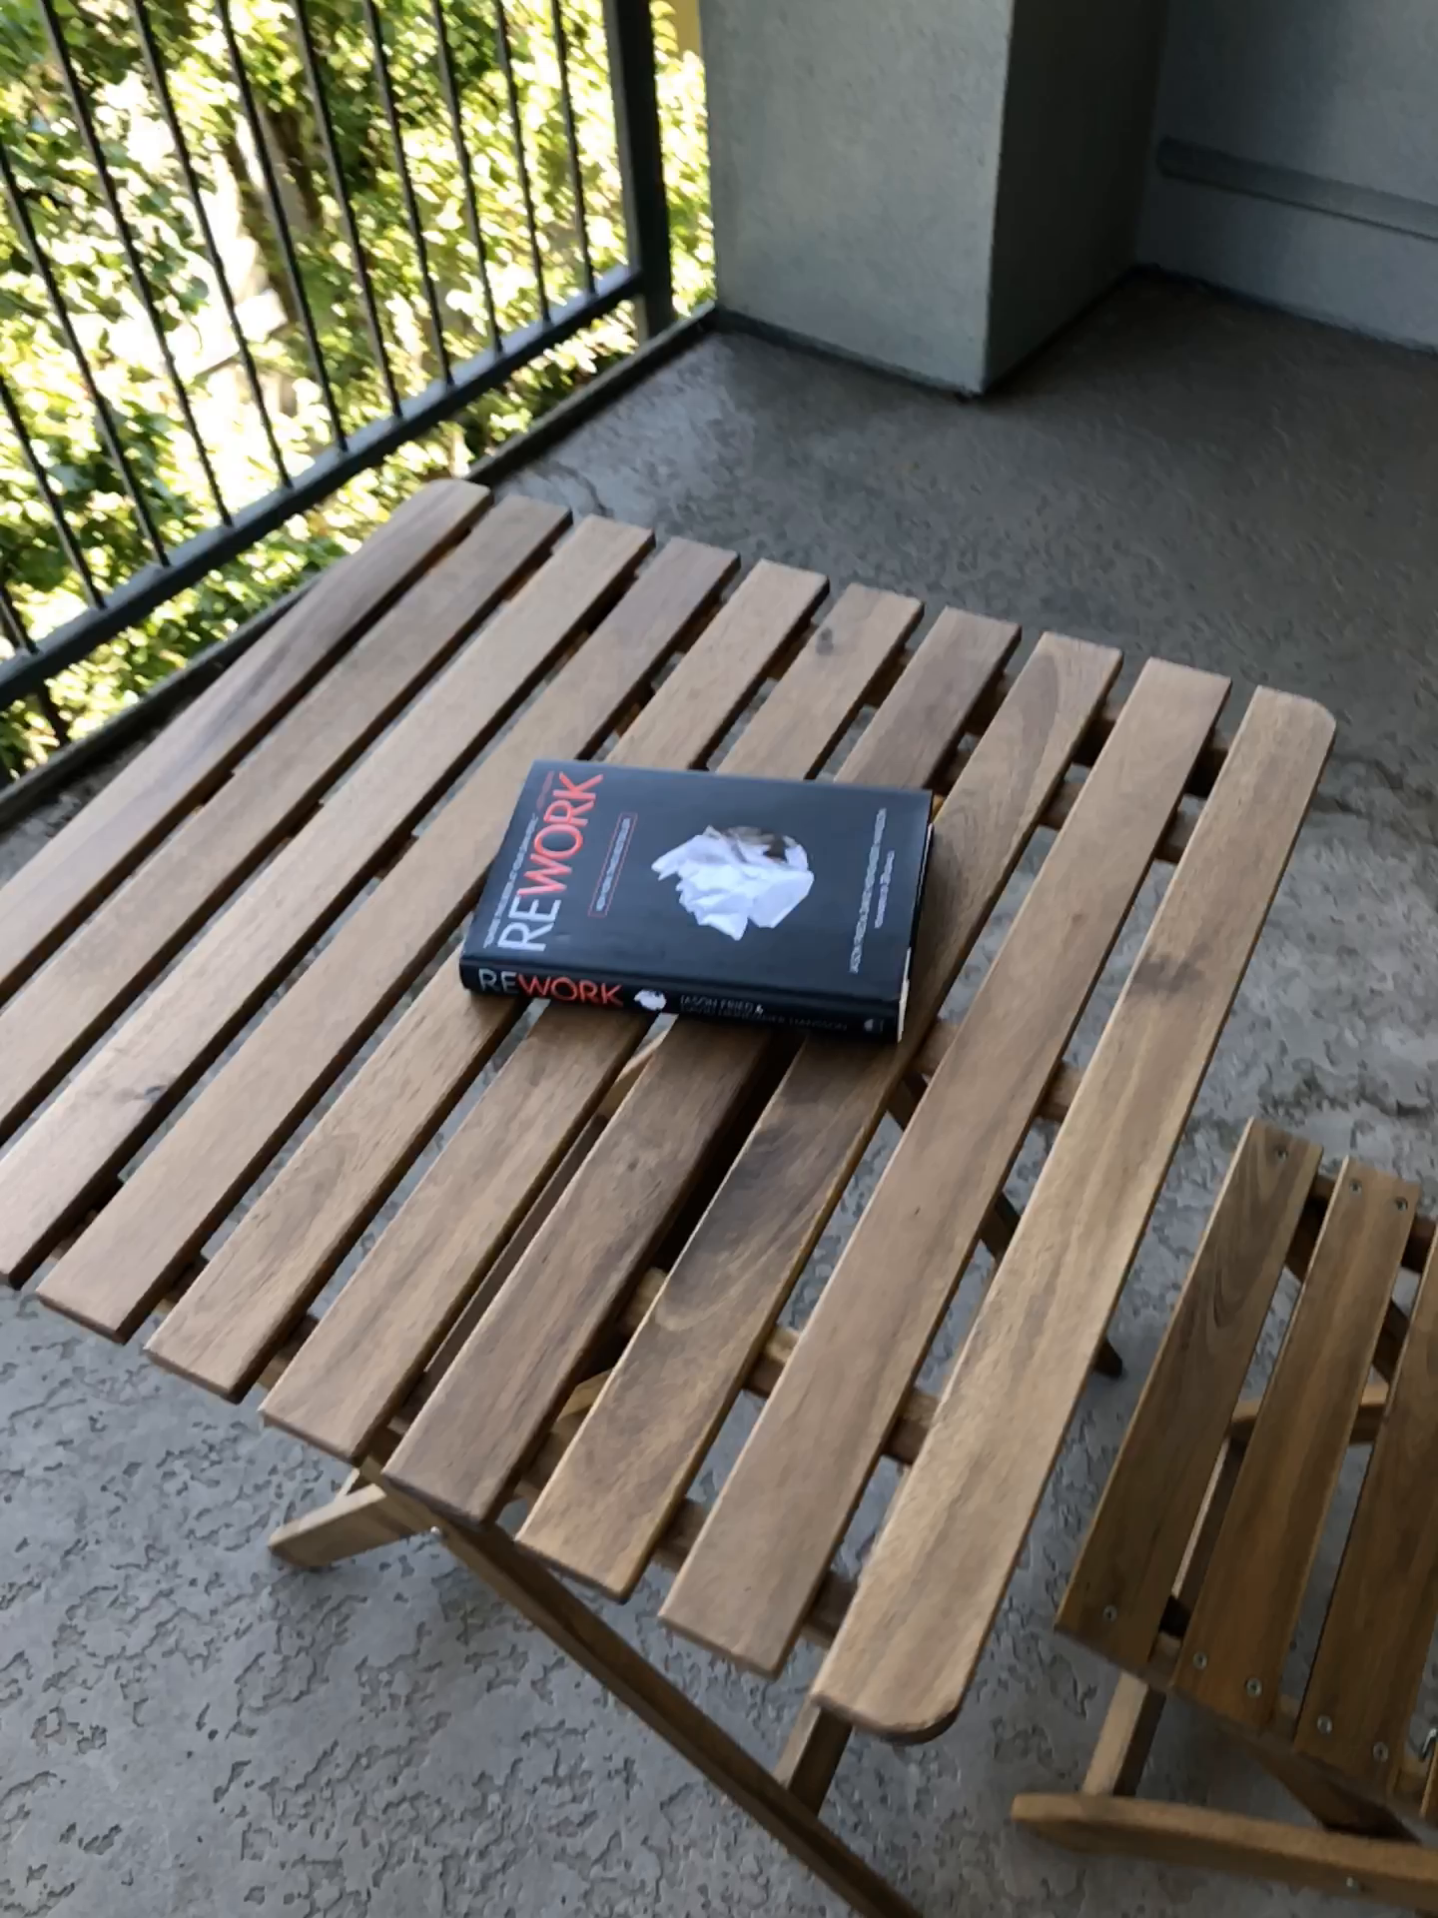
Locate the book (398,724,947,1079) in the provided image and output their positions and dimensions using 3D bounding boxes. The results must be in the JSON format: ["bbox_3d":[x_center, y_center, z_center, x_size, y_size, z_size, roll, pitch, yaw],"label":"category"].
[{"bbox_3d":[-0.016,-0.035,0.795,0.240,0.040,0.171,6,51,9],"label":"book"}]
